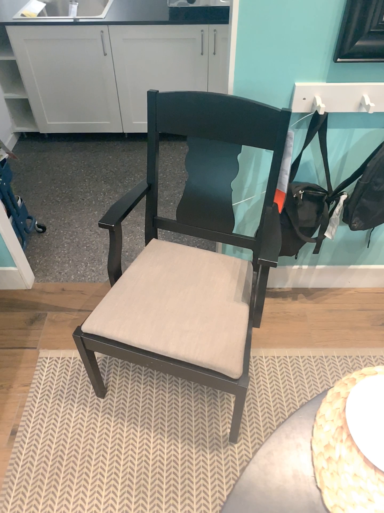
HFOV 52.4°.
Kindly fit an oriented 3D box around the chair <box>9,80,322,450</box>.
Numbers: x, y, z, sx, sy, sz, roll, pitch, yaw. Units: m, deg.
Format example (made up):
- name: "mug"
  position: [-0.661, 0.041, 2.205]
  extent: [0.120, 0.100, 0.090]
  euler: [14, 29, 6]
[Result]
- name: "chair"
  position: [0.010, 0.025, 1.380]
  extent: [0.600, 0.897, 0.802]
  euler: [13, 47, 13]
